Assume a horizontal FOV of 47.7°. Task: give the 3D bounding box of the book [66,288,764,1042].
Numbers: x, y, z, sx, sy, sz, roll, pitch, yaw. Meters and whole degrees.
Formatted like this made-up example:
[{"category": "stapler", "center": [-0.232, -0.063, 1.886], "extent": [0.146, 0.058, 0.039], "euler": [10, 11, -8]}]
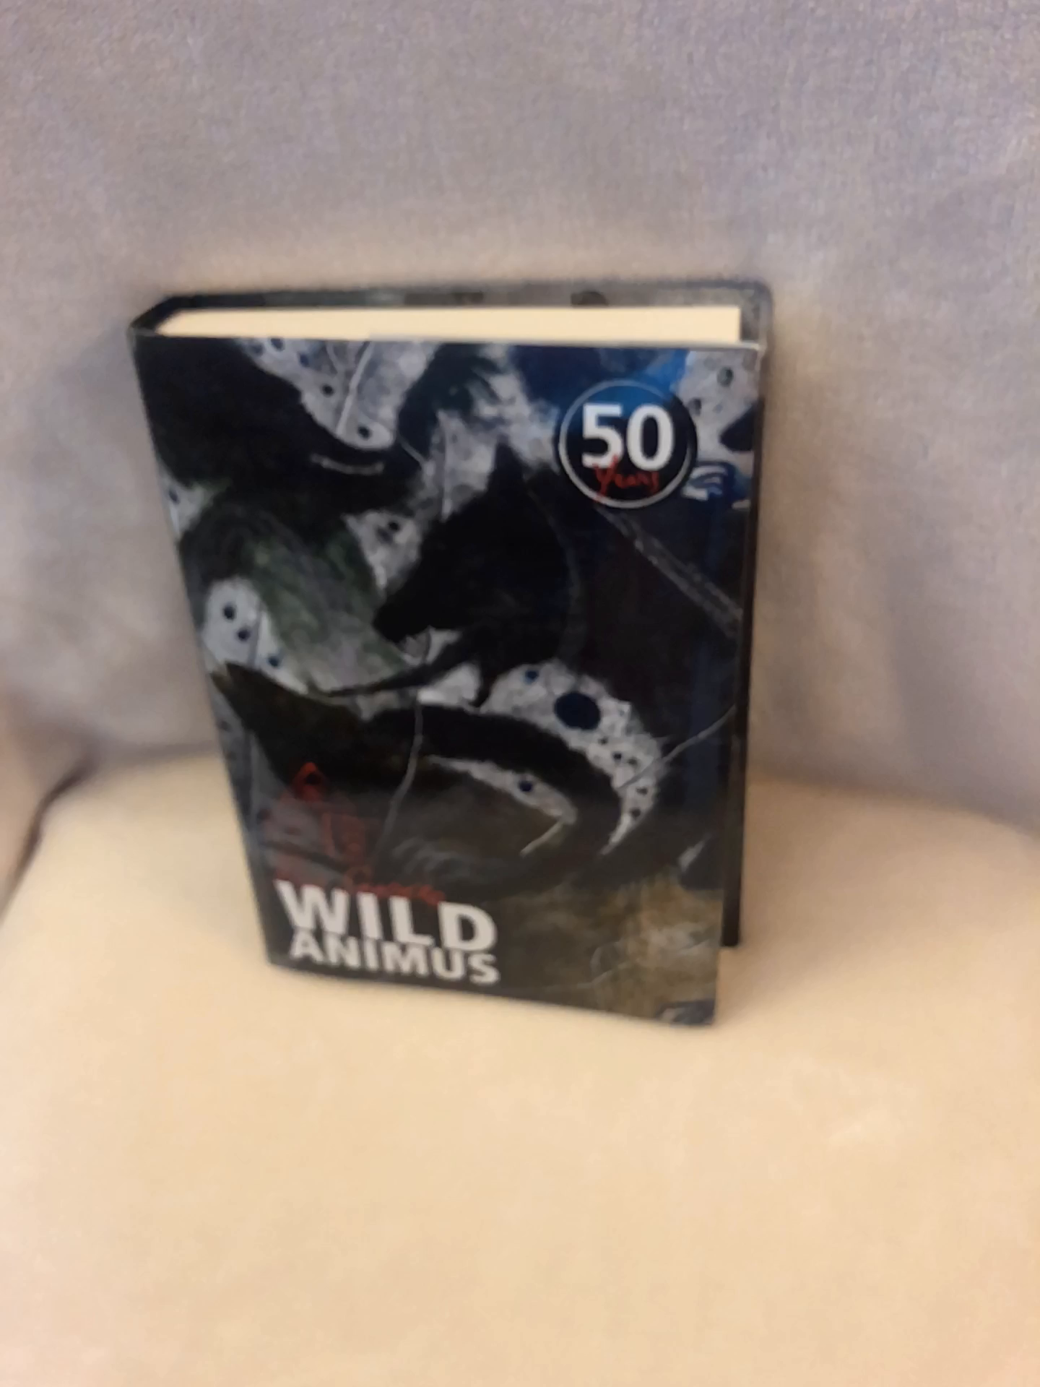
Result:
[{"category": "book", "center": [-0.020, -0.001, 0.341], "extent": [0.163, 0.216, 0.043], "euler": [4, 33, 12]}]
